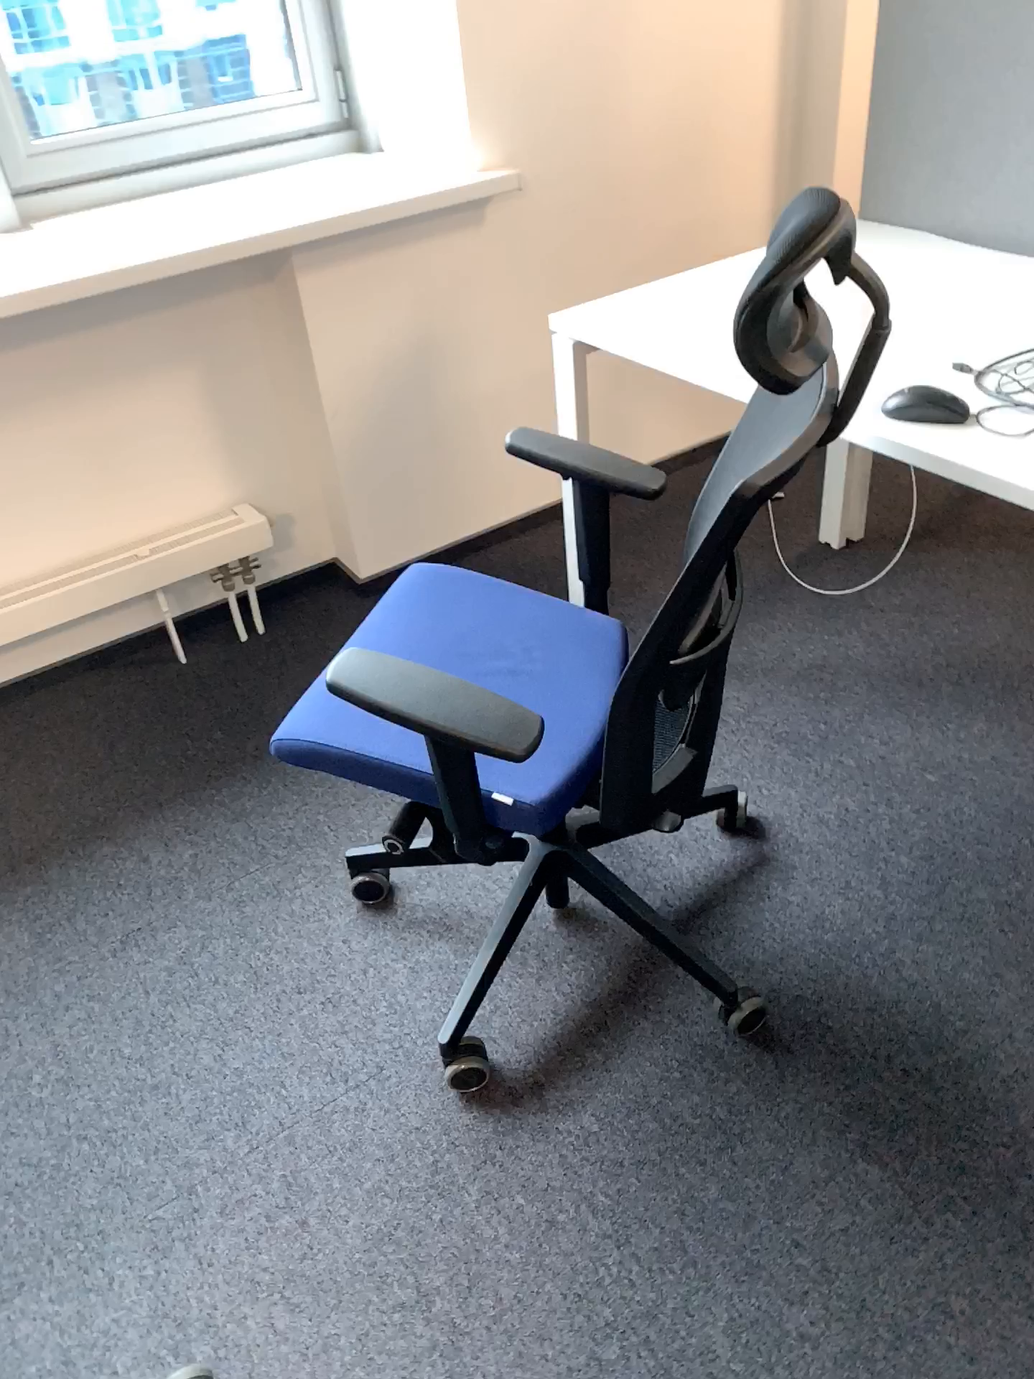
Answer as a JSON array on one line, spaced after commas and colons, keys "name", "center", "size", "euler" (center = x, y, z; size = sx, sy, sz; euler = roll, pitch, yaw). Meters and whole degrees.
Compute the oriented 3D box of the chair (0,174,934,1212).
[{"name": "chair", "center": [0.041, -0.046, 1.467], "size": [0.791, 1.074, 0.753], "euler": [11, 39, 22]}]
